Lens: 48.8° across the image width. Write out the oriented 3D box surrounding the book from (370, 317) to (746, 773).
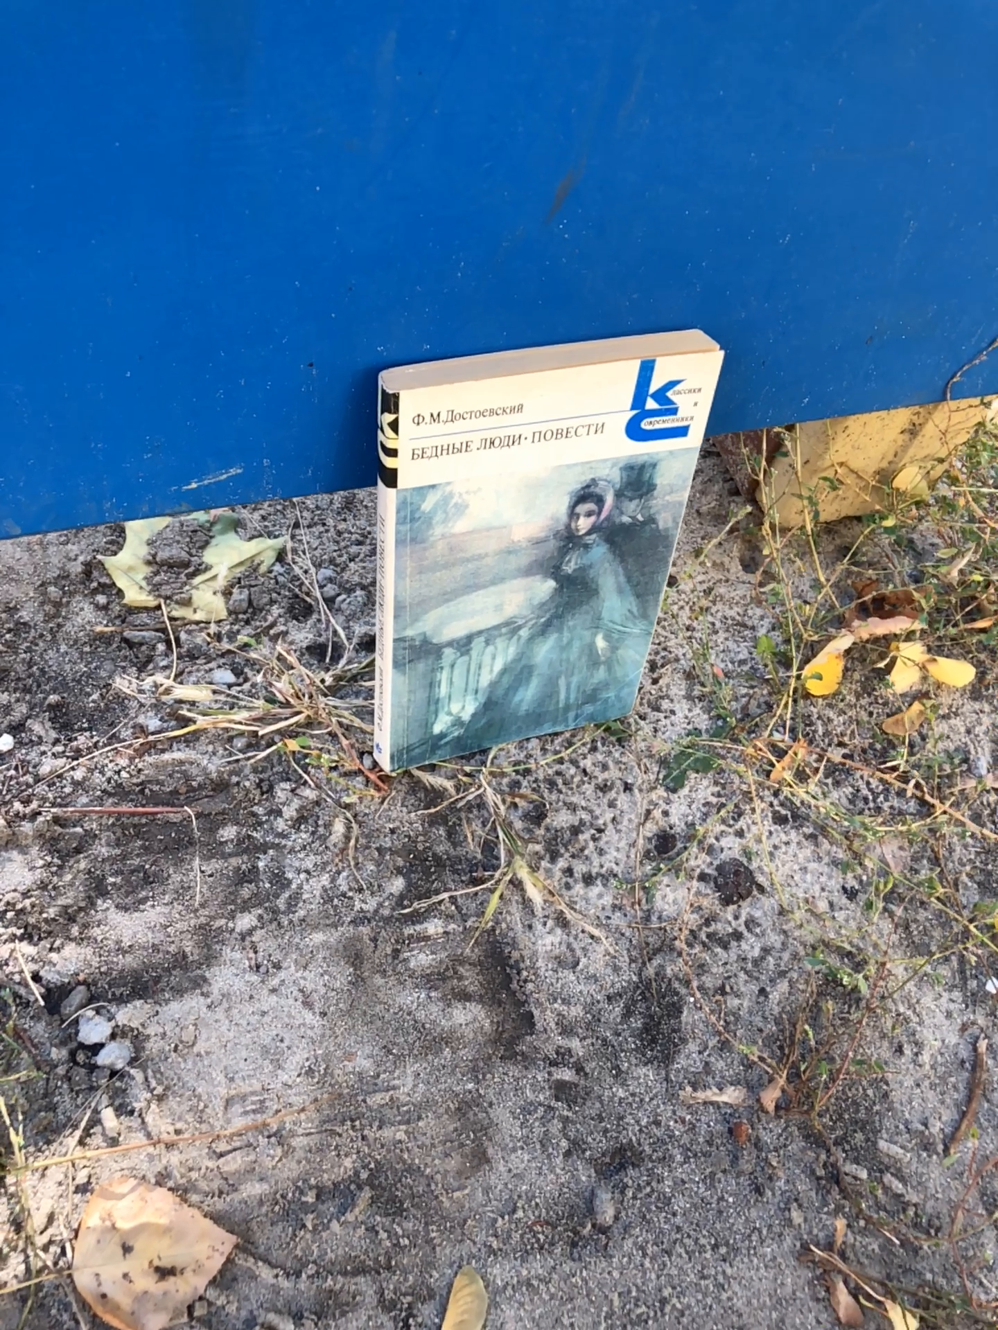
[{"bbox_3d":[0.014,-0.040,0.439,0.127,0.187,0.026,-12,48,-18],"label":"book"}]
